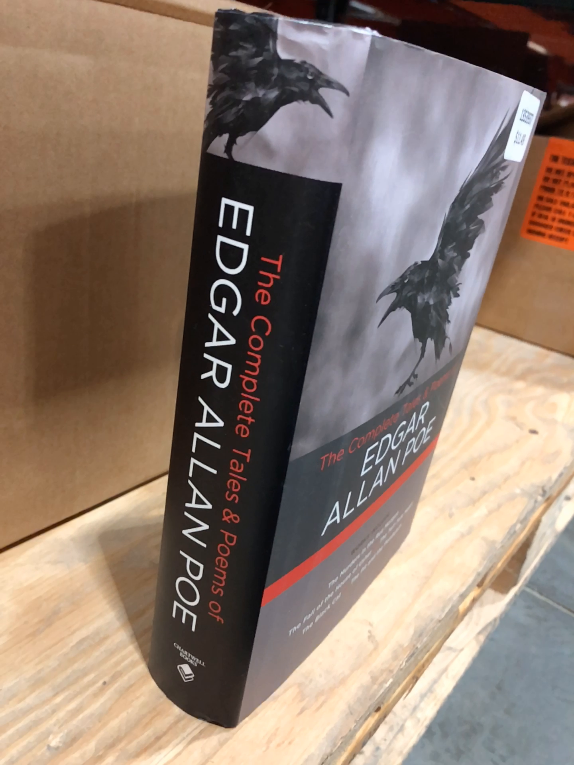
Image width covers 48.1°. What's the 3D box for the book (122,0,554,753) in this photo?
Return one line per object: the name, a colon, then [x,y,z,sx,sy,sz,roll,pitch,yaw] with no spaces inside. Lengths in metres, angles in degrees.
book: [0.023,-0.002,0.268,0.054,0.240,0.172,24,28,26]
